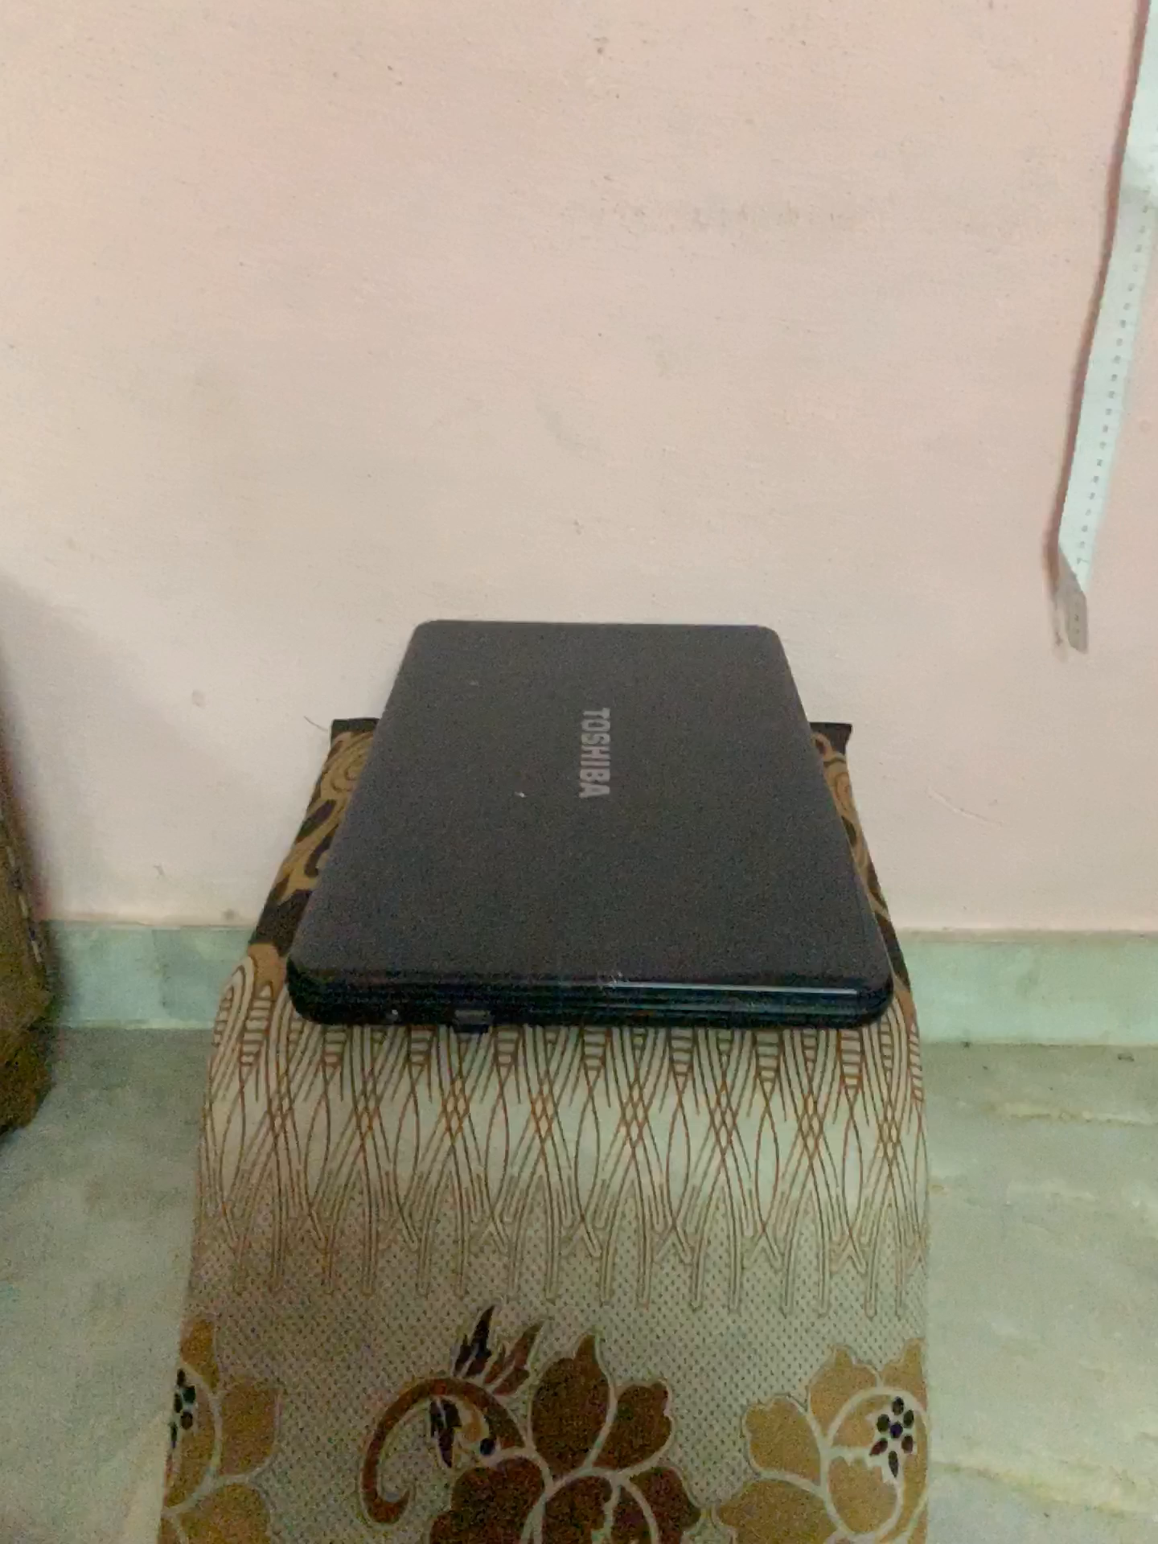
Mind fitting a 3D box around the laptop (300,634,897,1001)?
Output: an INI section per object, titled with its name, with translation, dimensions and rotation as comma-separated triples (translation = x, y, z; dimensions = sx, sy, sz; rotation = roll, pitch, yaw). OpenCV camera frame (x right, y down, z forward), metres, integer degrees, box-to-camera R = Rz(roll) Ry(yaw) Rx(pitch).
[laptop]
translation = 0.006, -0.003, 0.606
dimensions = 0.222, 0.001, 0.372
rotation = 0, 27, 0
